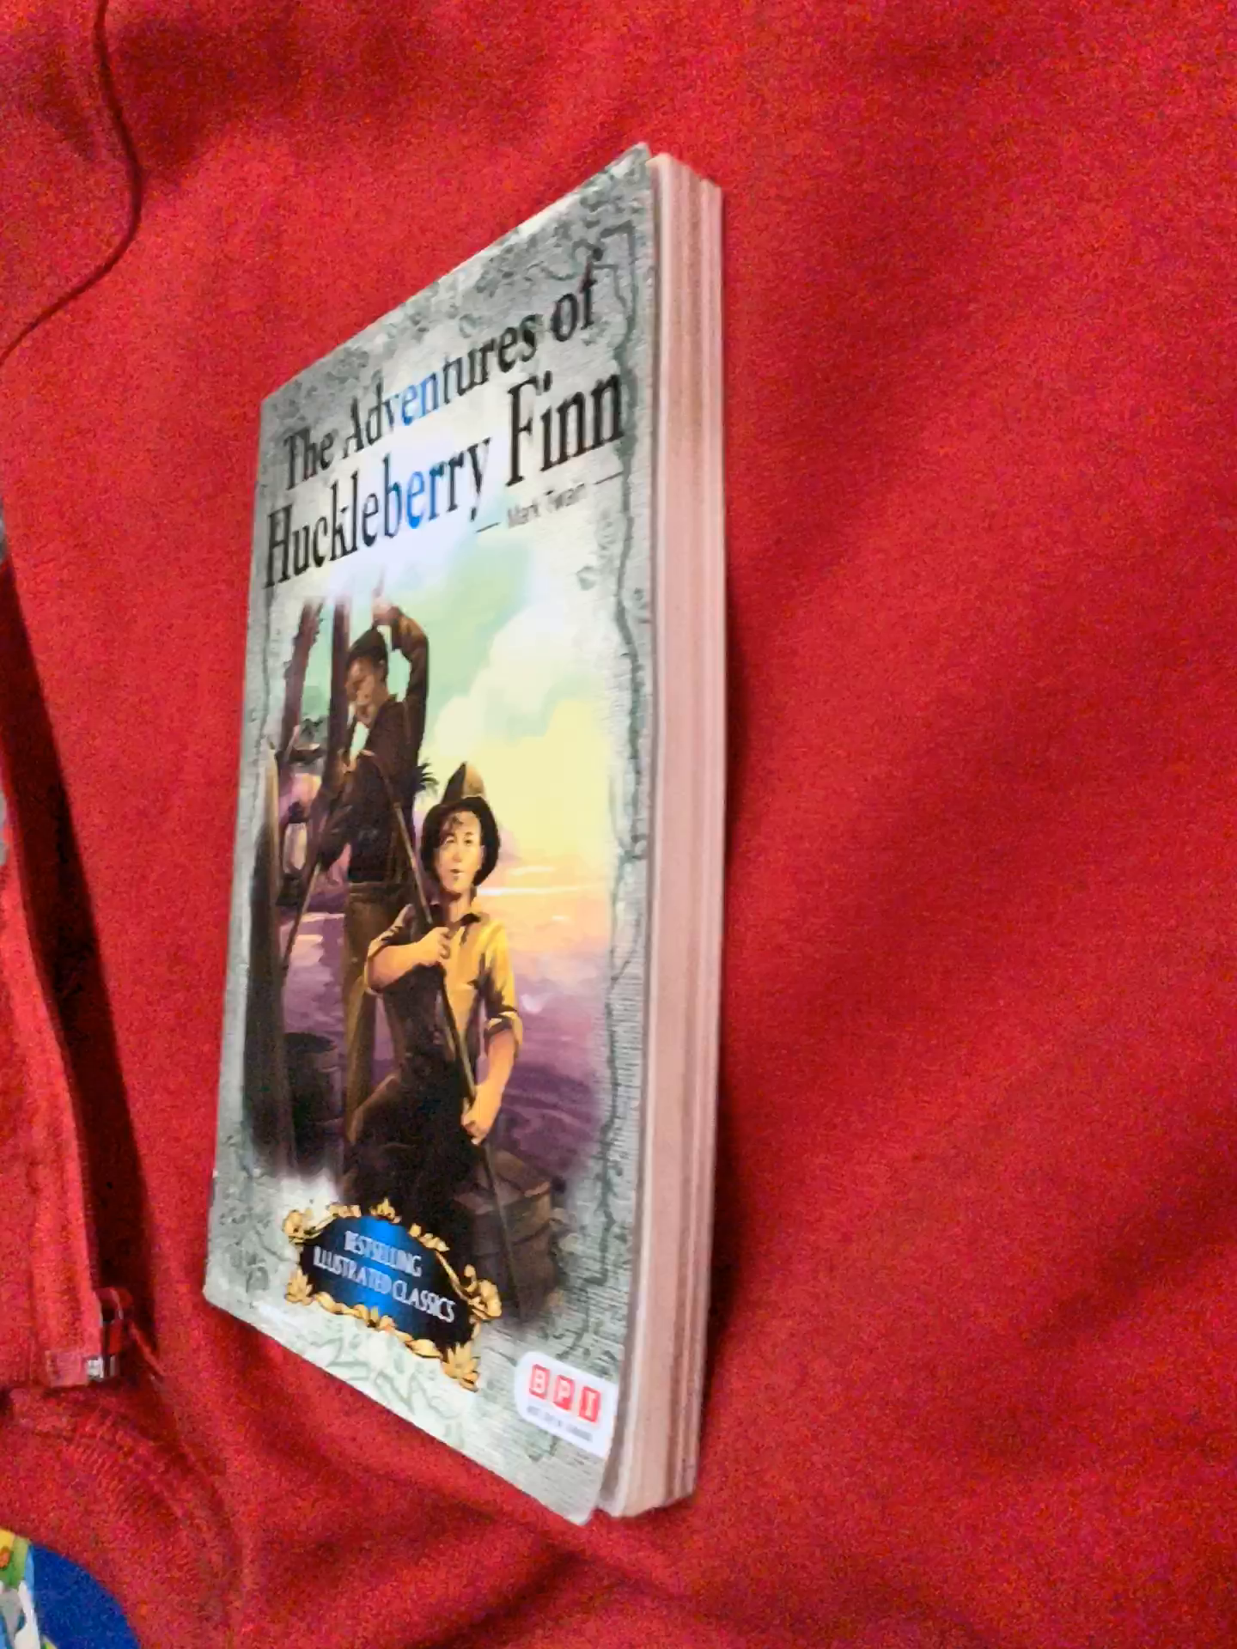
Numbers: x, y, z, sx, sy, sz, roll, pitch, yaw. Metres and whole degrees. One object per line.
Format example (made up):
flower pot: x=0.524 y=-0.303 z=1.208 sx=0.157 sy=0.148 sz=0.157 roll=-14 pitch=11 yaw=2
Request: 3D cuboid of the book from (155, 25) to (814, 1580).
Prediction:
book: x=-0.029 y=-0.004 z=0.203 sx=0.131 sy=0.020 sz=0.180 roll=-4 pitch=81 yaw=48
